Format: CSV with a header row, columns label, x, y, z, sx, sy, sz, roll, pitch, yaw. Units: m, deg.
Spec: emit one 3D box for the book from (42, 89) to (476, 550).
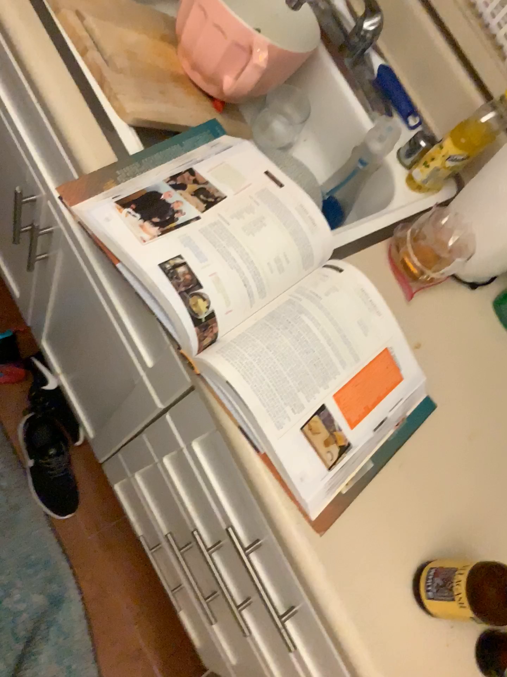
label,x,y,z,sx,sy,sz,roll,pitch,yaw
book,0.029,-0.053,0.719,0.310,0.040,0.530,-37,88,-31
